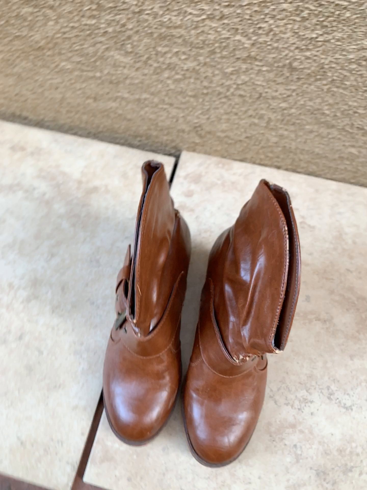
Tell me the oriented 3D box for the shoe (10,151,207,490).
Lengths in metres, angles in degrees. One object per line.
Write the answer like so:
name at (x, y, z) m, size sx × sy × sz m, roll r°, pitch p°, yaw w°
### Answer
shoe at (-0.043, 0.074, 0.371) m, size 0.095 × 0.199 × 0.245 m, roll 7°, pitch 68°, yaw 3°

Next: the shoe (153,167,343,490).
shoe at (0.057, 0.092, 0.365) m, size 0.100 × 0.199 × 0.245 m, roll 11°, pitch 69°, yaw 5°
